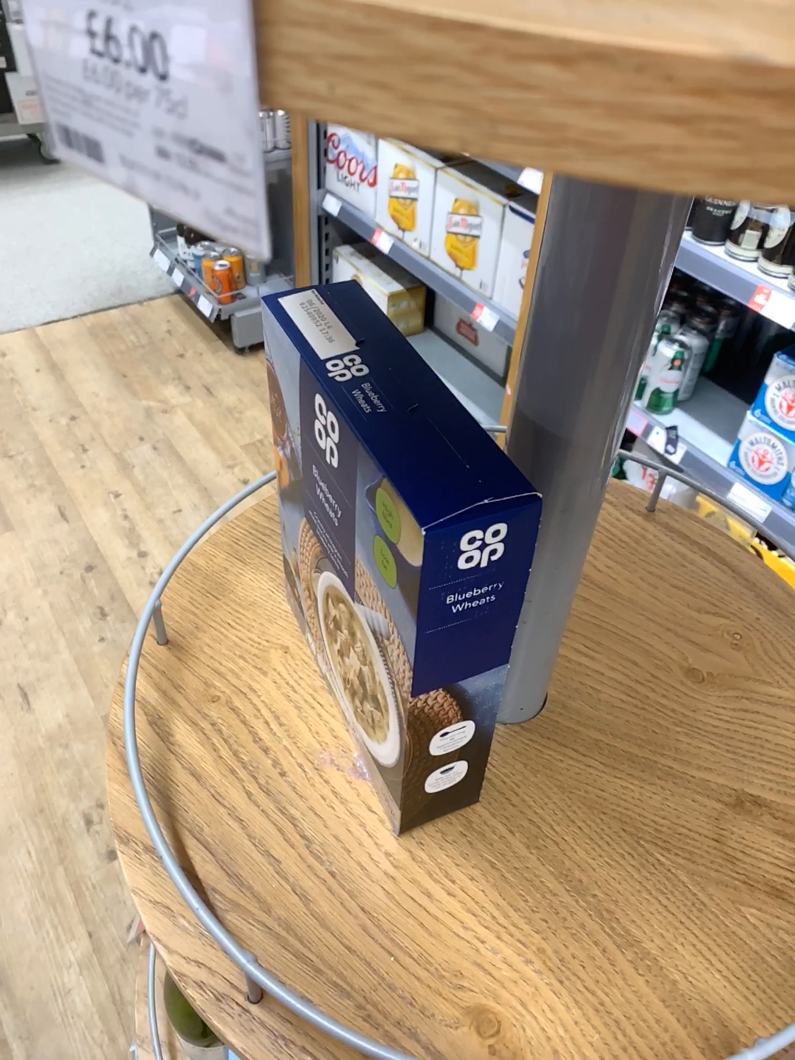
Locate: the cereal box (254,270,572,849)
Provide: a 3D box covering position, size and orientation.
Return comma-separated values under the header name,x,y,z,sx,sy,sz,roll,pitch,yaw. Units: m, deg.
name,x,y,z,sx,sy,sz,roll,pitch,yaw
cereal box,-0.010,0.016,0.437,0.060,0.228,0.202,-15,46,-20
